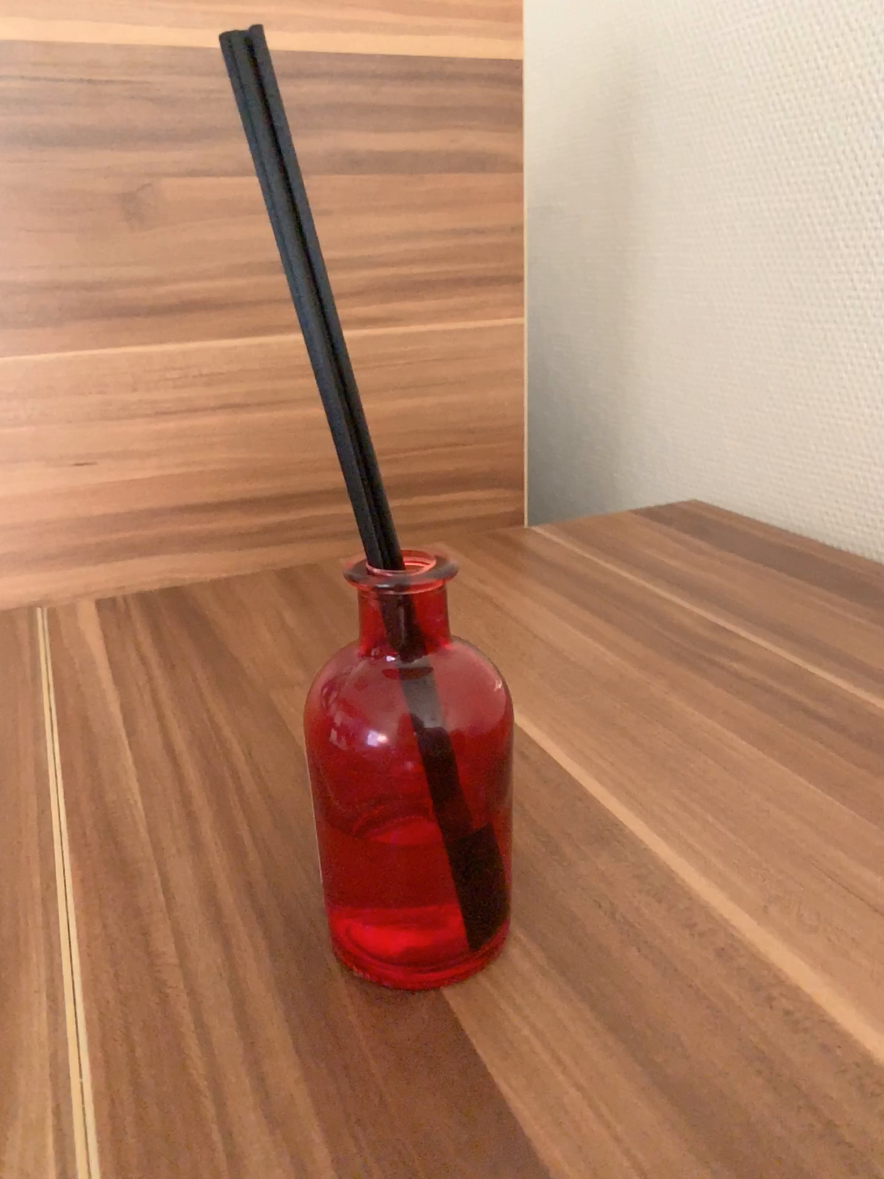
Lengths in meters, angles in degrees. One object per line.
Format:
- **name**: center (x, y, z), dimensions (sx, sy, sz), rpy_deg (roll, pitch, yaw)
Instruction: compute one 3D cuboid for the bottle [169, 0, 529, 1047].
- **bottle**: center (-0.017, -0.008, 0.223), dimensions (0.060, 0.239, 0.050), rpy_deg (-9, 21, -17)
